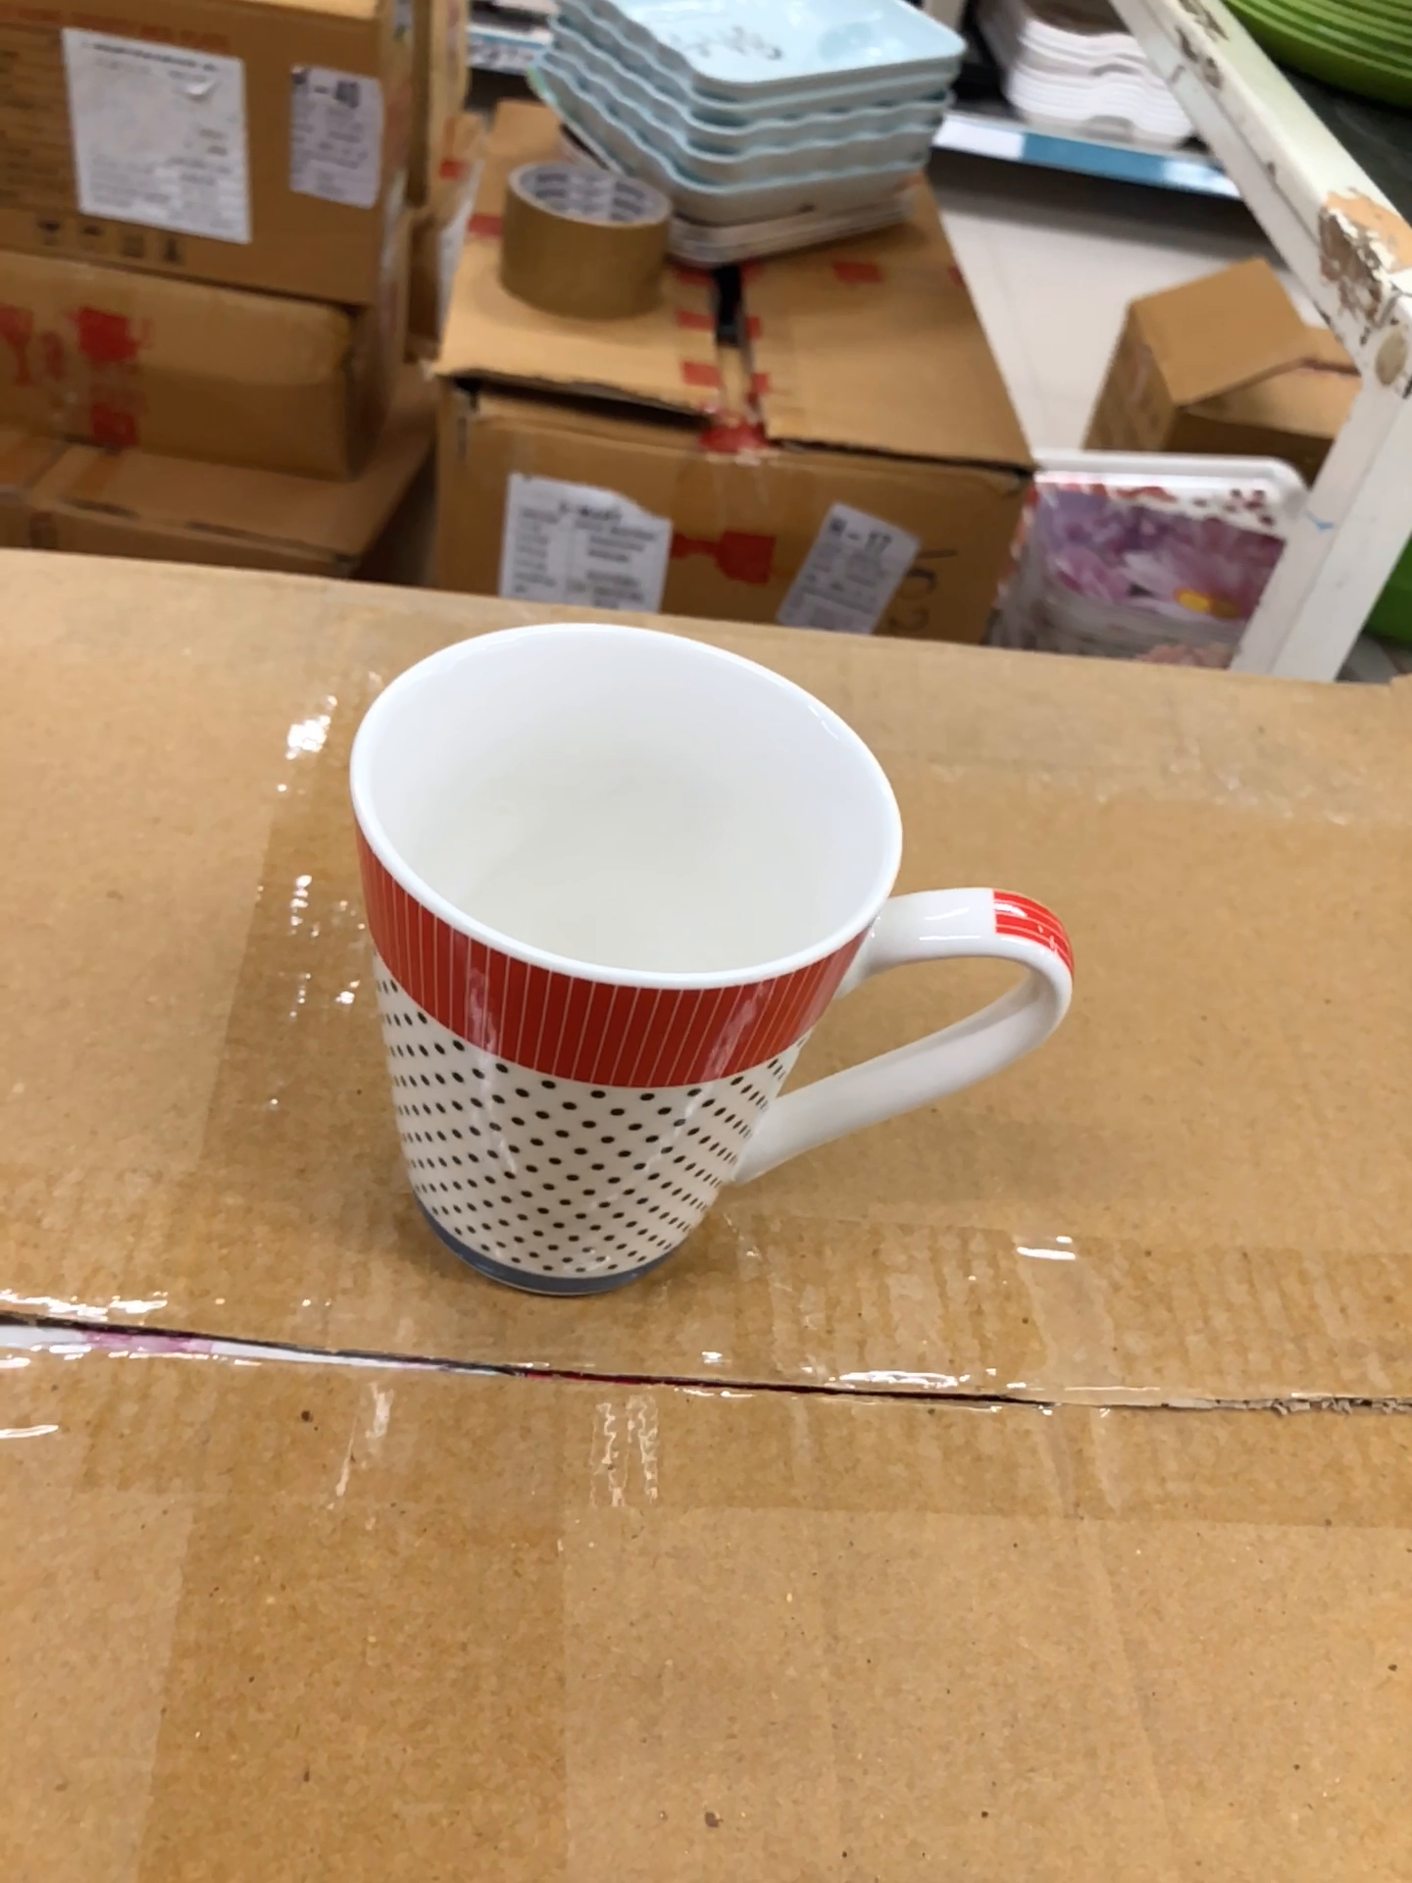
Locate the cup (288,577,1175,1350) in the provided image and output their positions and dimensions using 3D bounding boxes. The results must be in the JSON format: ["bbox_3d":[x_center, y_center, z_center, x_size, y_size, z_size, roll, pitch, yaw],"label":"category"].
[{"bbox_3d":[-0.005,0.005,0.271,0.120,0.089,0.091,1,45,-11],"label":"cup"}]
